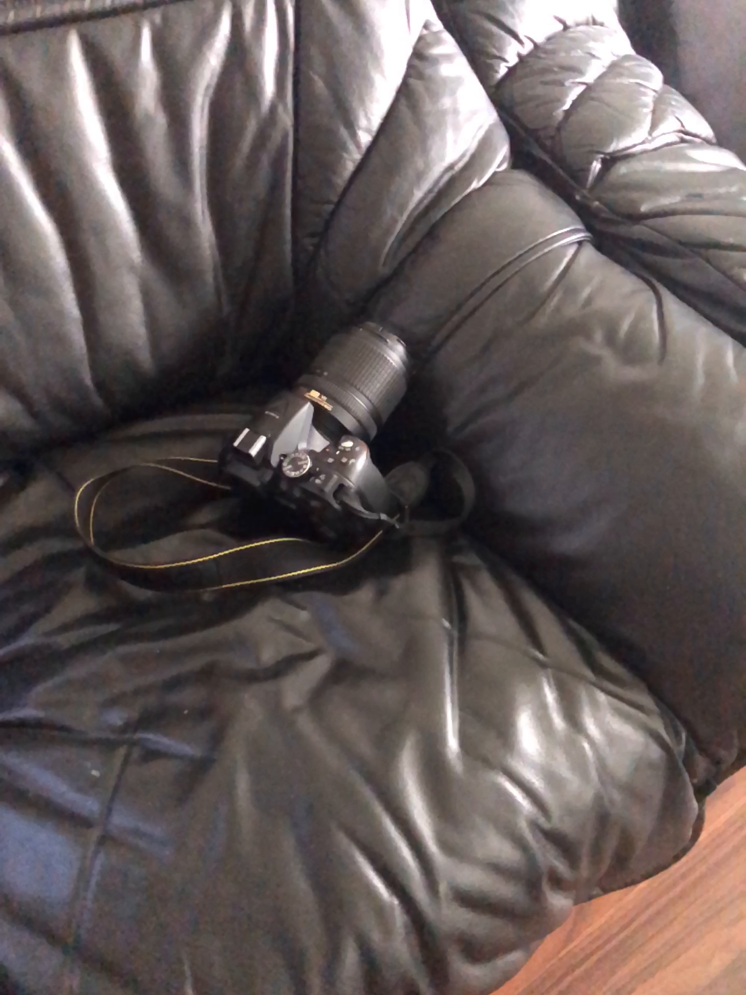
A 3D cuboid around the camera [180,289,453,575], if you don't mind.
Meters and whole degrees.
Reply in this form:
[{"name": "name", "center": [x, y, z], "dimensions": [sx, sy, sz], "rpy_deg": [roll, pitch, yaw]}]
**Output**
[{"name": "camera", "center": [-0.040, -0.058, 0.719], "dimensions": [0.140, 0.130, 0.170], "rpy_deg": [25, 69, 24]}]
